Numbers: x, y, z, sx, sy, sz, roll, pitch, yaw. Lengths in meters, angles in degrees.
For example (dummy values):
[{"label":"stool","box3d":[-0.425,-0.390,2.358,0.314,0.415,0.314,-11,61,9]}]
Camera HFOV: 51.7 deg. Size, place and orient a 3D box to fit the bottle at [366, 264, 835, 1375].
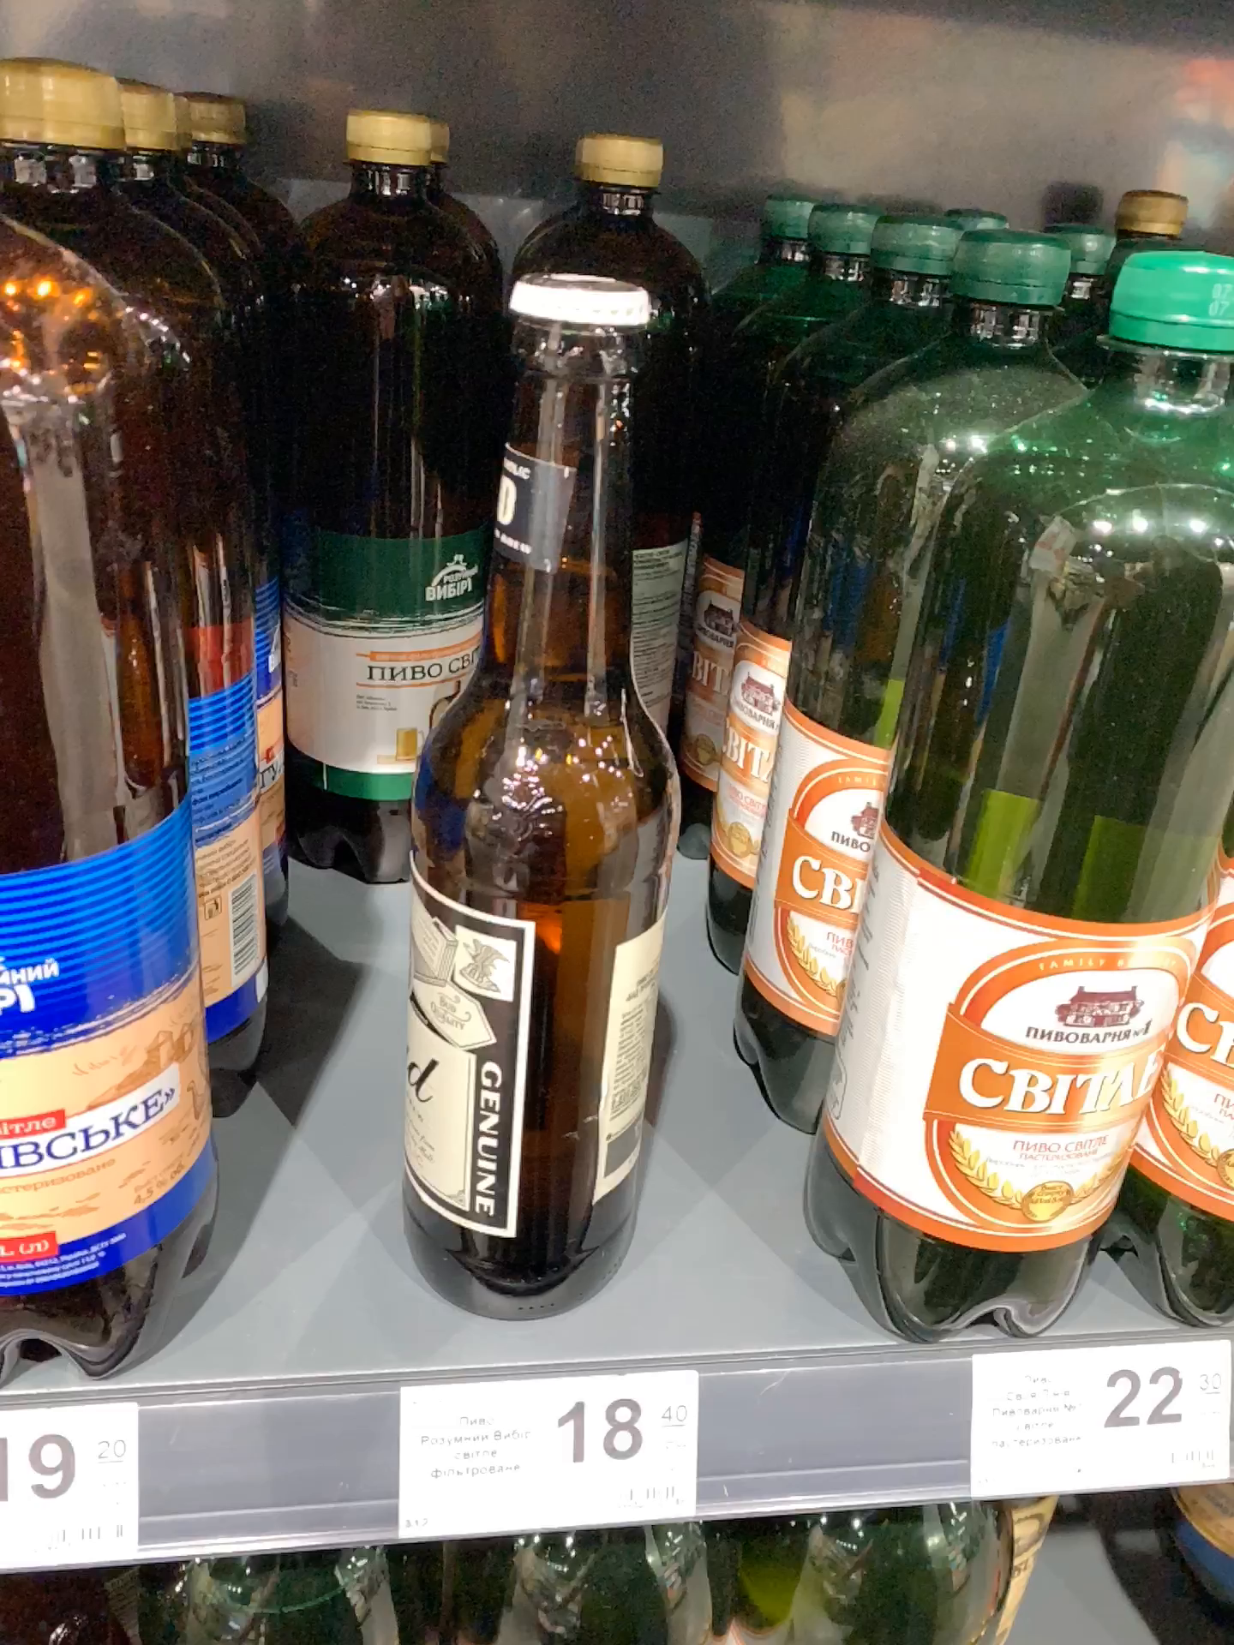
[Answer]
[{"label":"bottle","box3d":[-0.014,0.007,0.313,0.070,0.258,0.064,-16,34,-36]}]
